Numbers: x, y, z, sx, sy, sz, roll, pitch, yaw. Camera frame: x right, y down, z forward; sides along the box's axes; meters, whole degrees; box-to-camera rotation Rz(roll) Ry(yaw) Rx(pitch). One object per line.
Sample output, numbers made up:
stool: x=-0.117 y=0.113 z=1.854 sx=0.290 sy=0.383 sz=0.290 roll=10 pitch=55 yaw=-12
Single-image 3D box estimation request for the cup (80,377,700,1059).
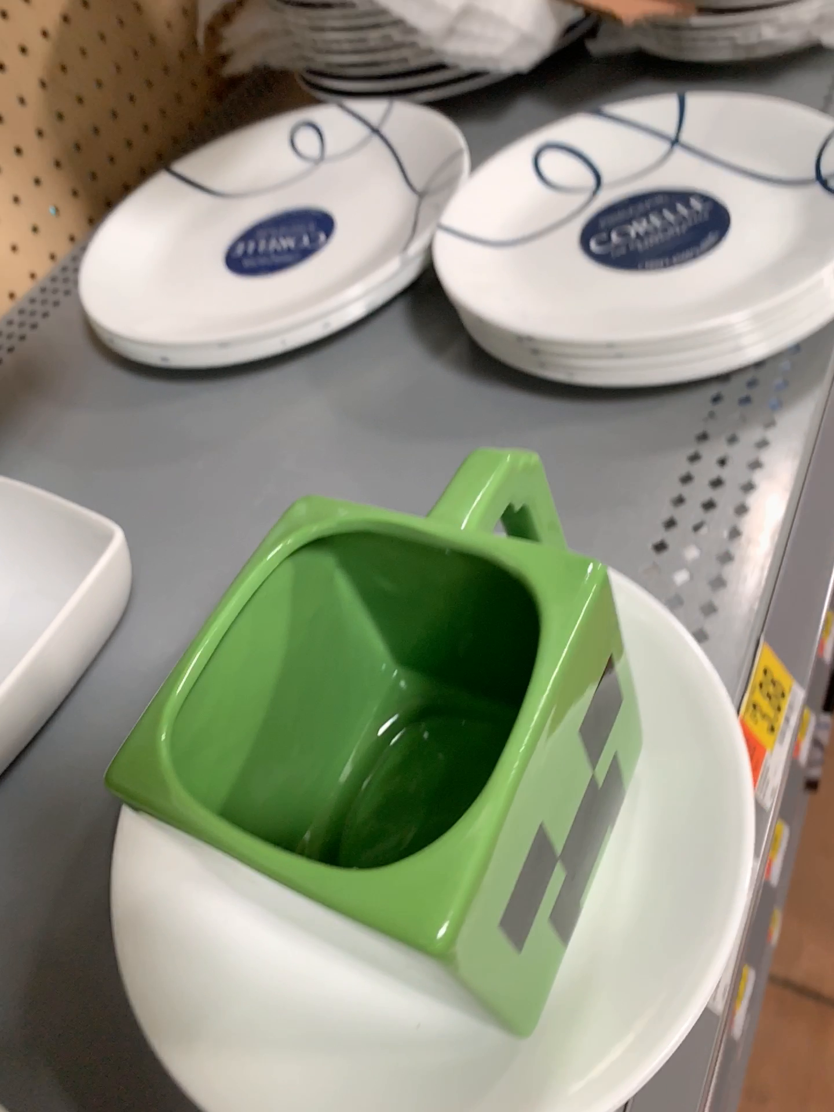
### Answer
cup: x=0.009 y=0.041 z=0.257 sx=0.106 sy=0.104 sz=0.142 roll=14 pitch=58 yaw=28
